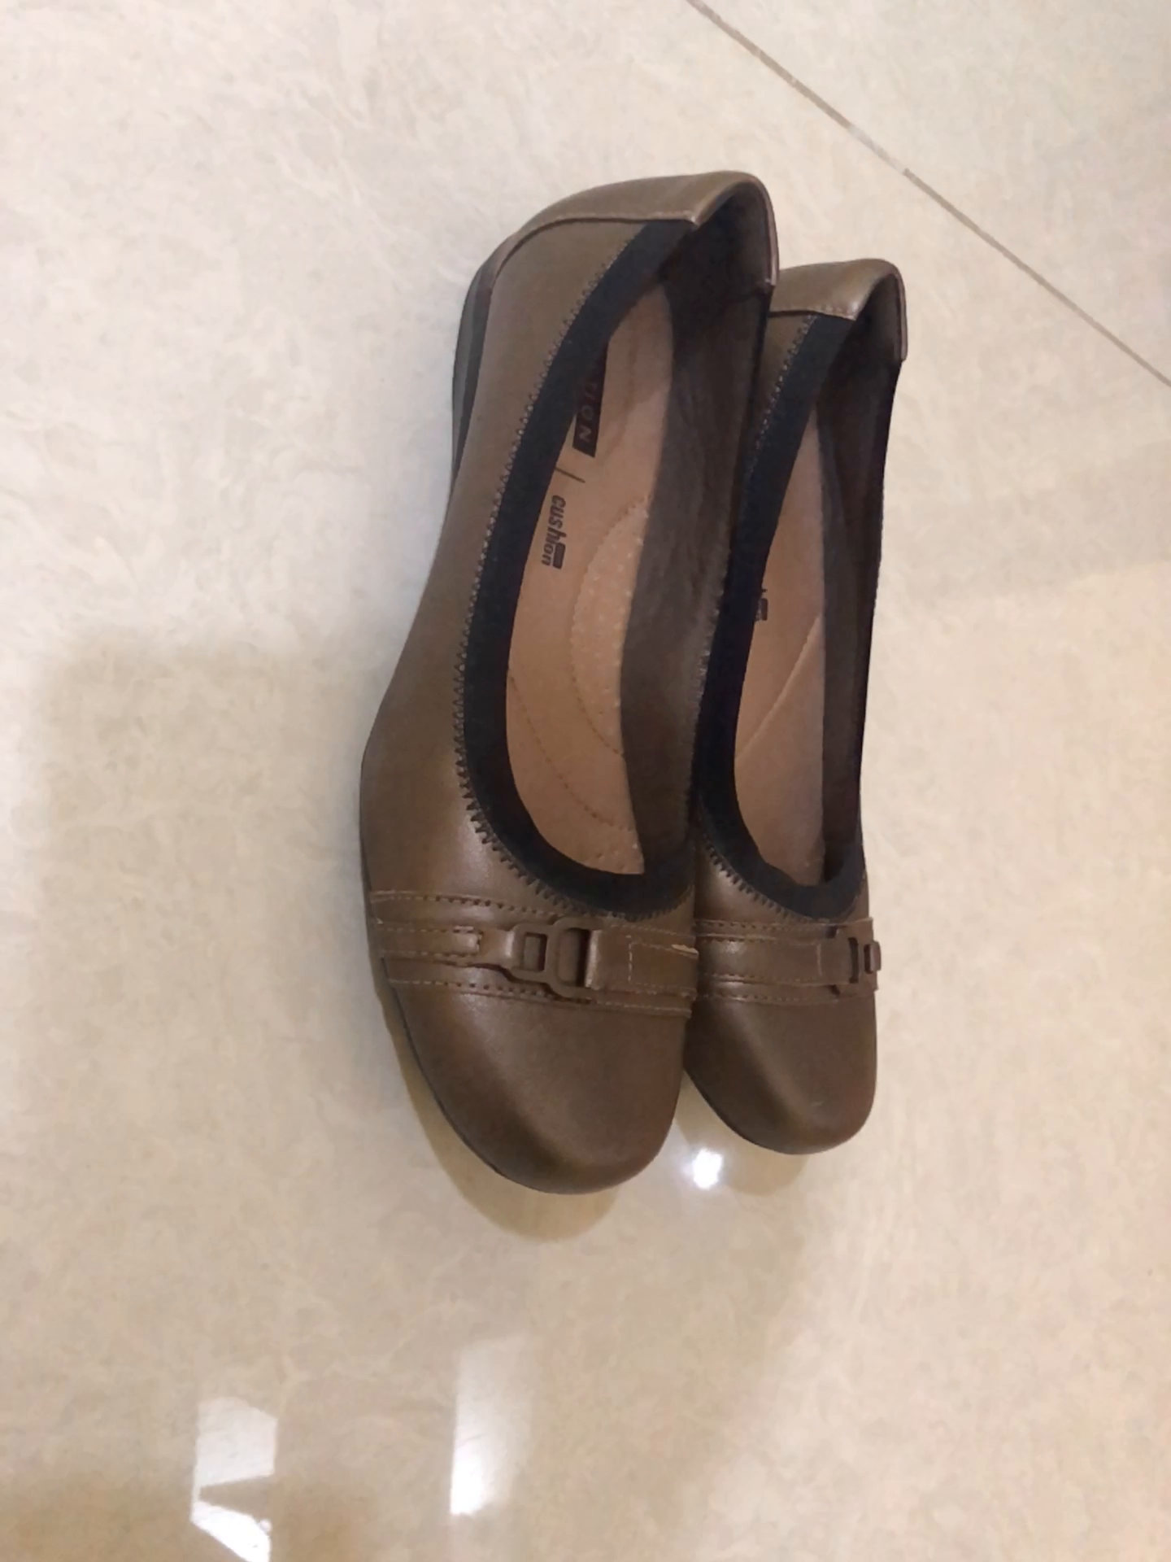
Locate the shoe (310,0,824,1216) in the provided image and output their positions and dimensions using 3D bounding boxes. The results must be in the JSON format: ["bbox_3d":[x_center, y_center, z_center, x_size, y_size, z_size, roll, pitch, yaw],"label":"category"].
[{"bbox_3d":[0.004,-0.038,0.324,0.101,0.050,0.270,14,75,-42],"label":"shoe"}]

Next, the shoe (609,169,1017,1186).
[{"bbox_3d":[0.066,-0.025,0.384,0.091,0.070,0.260,5,81,-43],"label":"shoe"}]
